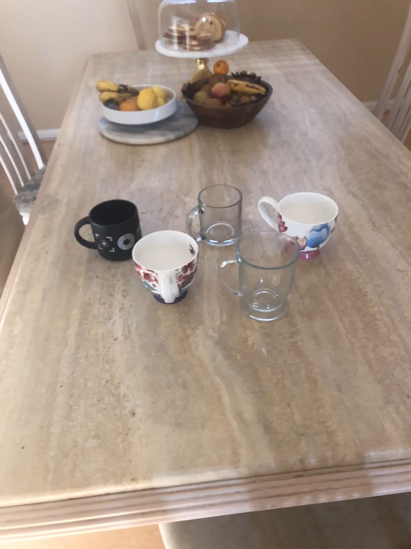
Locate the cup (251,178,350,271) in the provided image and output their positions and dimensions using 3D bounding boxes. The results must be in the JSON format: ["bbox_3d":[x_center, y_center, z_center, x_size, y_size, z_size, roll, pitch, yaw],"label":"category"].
[{"bbox_3d":[0.175,-0.096,0.845,0.150,0.099,0.111,15,44,20],"label":"cup"}]

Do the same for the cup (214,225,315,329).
[{"bbox_3d":[0.088,0.004,0.726,0.140,0.119,0.101,-4,41,0],"label":"cup"}]

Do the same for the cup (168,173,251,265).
[{"bbox_3d":[0.009,-0.109,0.884,0.130,0.119,0.091,-19,43,-17],"label":"cup"}]

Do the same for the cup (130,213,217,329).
[{"bbox_3d":[-0.054,-0.009,0.741,0.110,0.099,0.151,-10,41,-8],"label":"cup"}]

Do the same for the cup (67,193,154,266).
[{"bbox_3d":[-0.177,-0.087,0.880,0.140,0.089,0.101,-4,41,0],"label":"cup"}]
